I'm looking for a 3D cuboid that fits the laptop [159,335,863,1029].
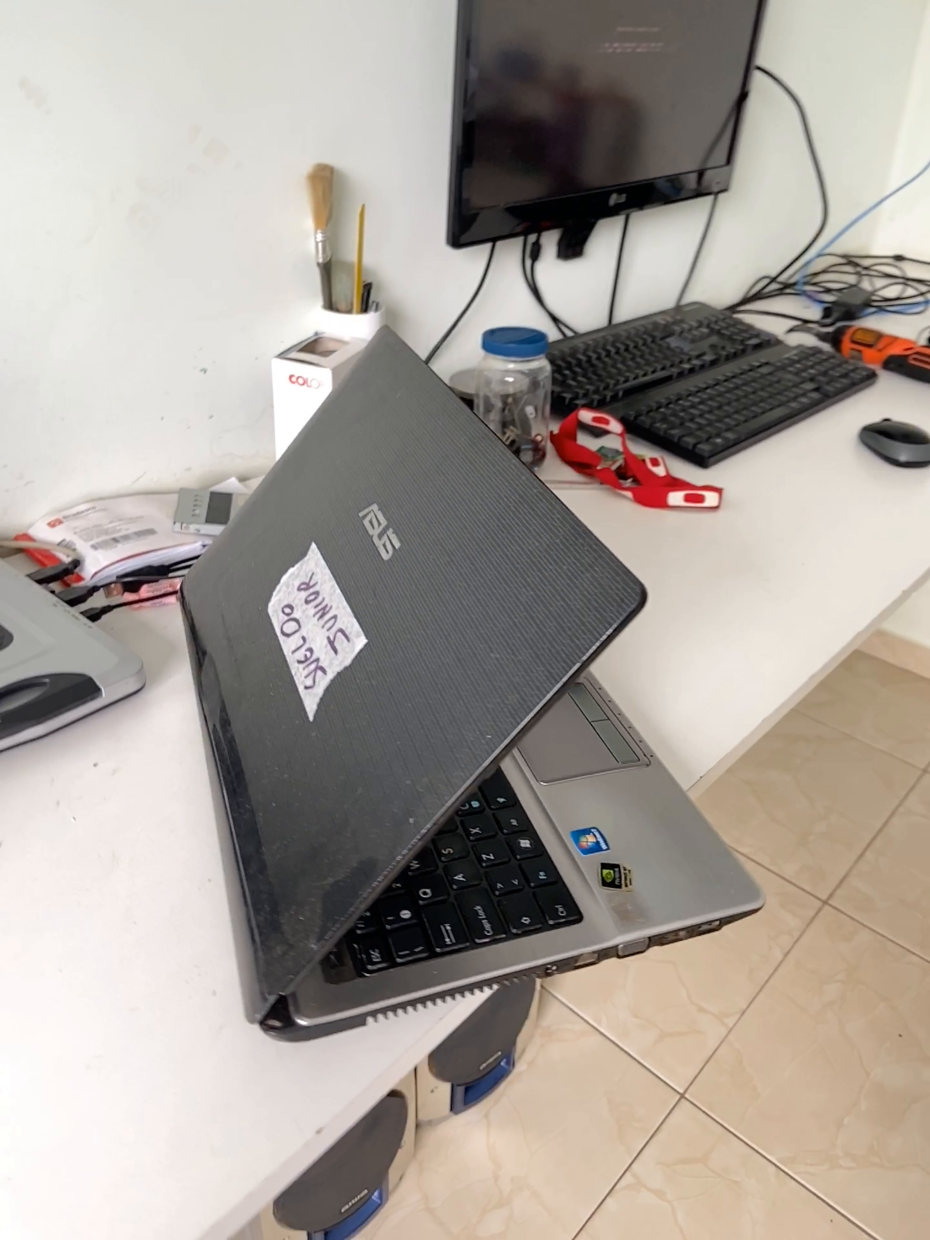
[{"bbox_3d":[-0.020,-0.017,0.542,0.246,0.182,0.378,-8,32,-17],"label":"laptop"}]
